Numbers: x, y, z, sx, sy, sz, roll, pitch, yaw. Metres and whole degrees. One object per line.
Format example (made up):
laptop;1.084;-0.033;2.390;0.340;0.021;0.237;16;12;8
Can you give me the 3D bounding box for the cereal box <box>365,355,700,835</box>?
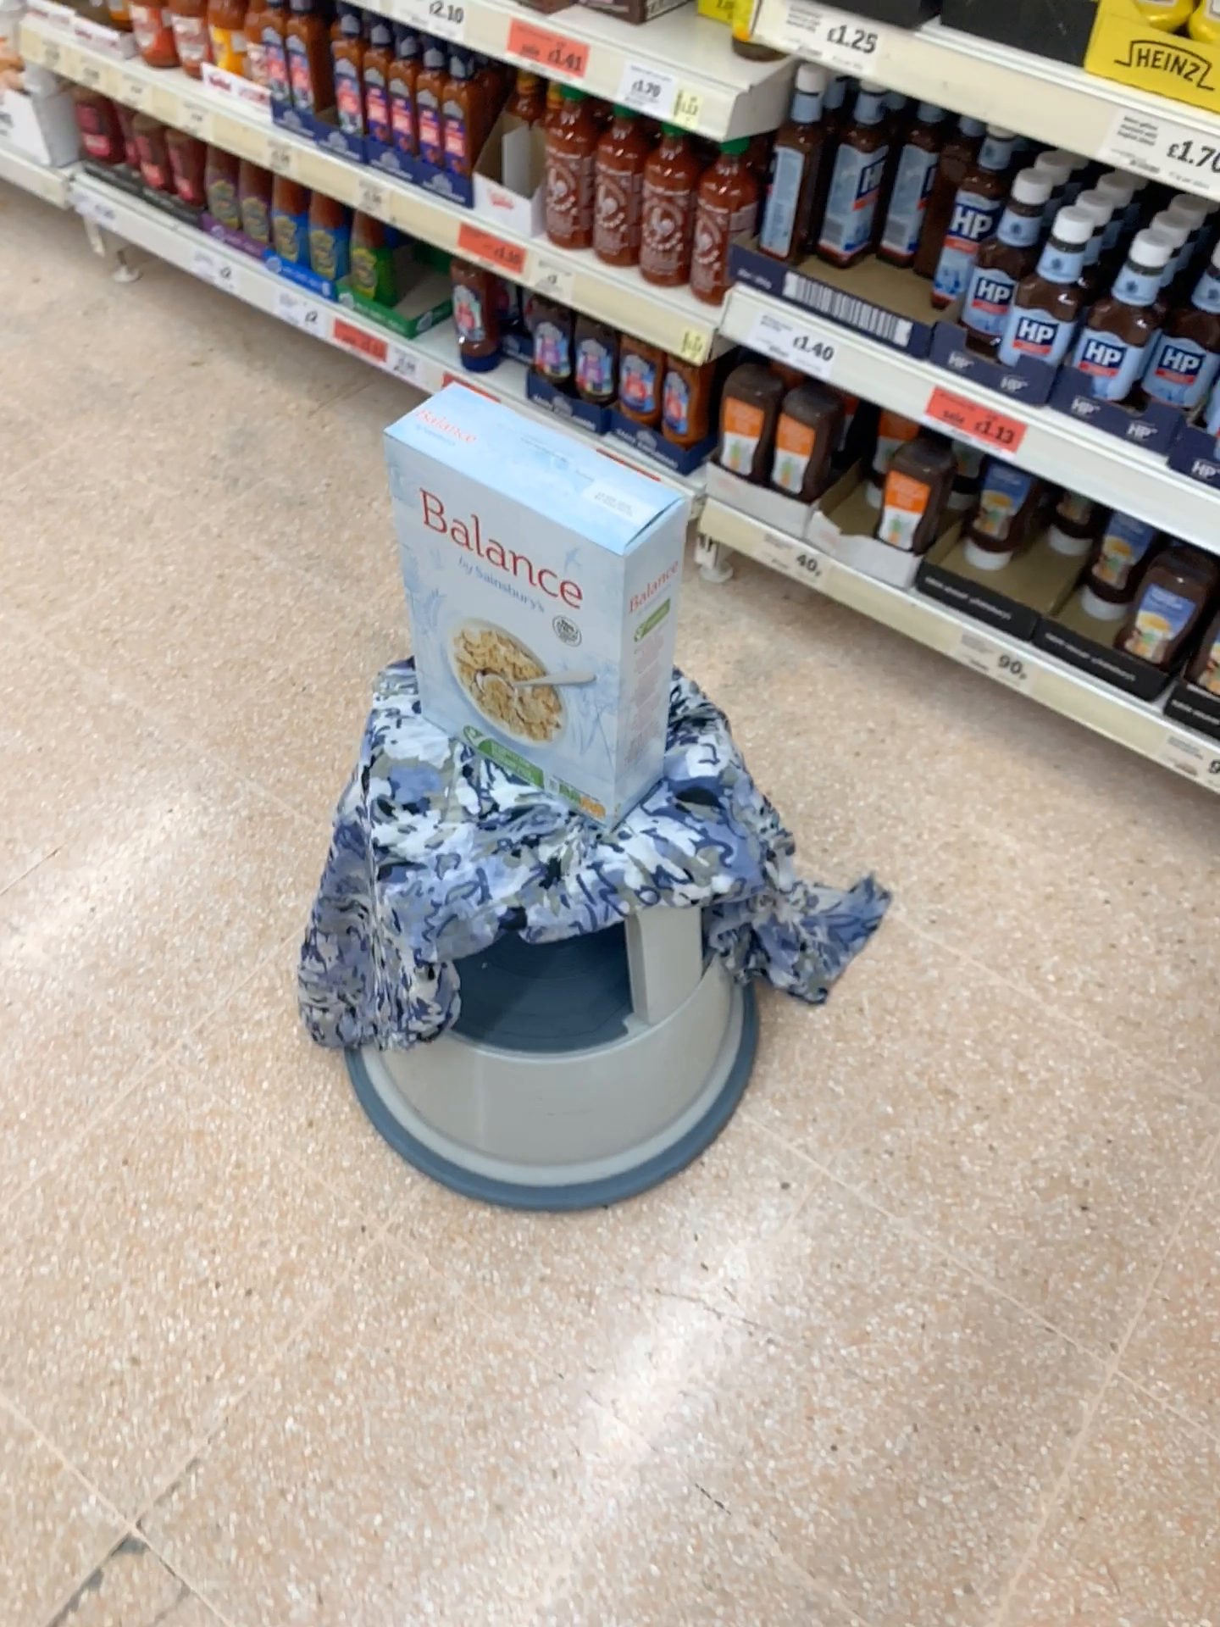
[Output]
cereal box;-0.056;-0.143;0.883;0.211;0.278;0.070;33;58;21
